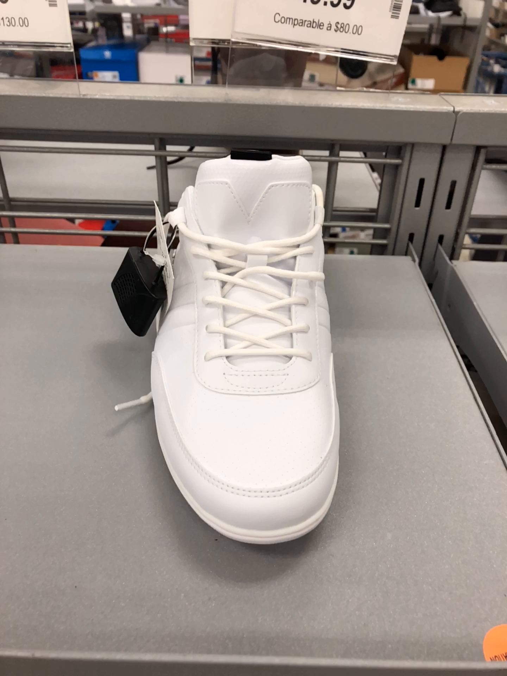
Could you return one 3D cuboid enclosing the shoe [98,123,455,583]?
[{"bbox_3d":[-0.003,-0.025,0.317,0.110,0.119,0.272,-1,34,-4],"label":"shoe"}]
